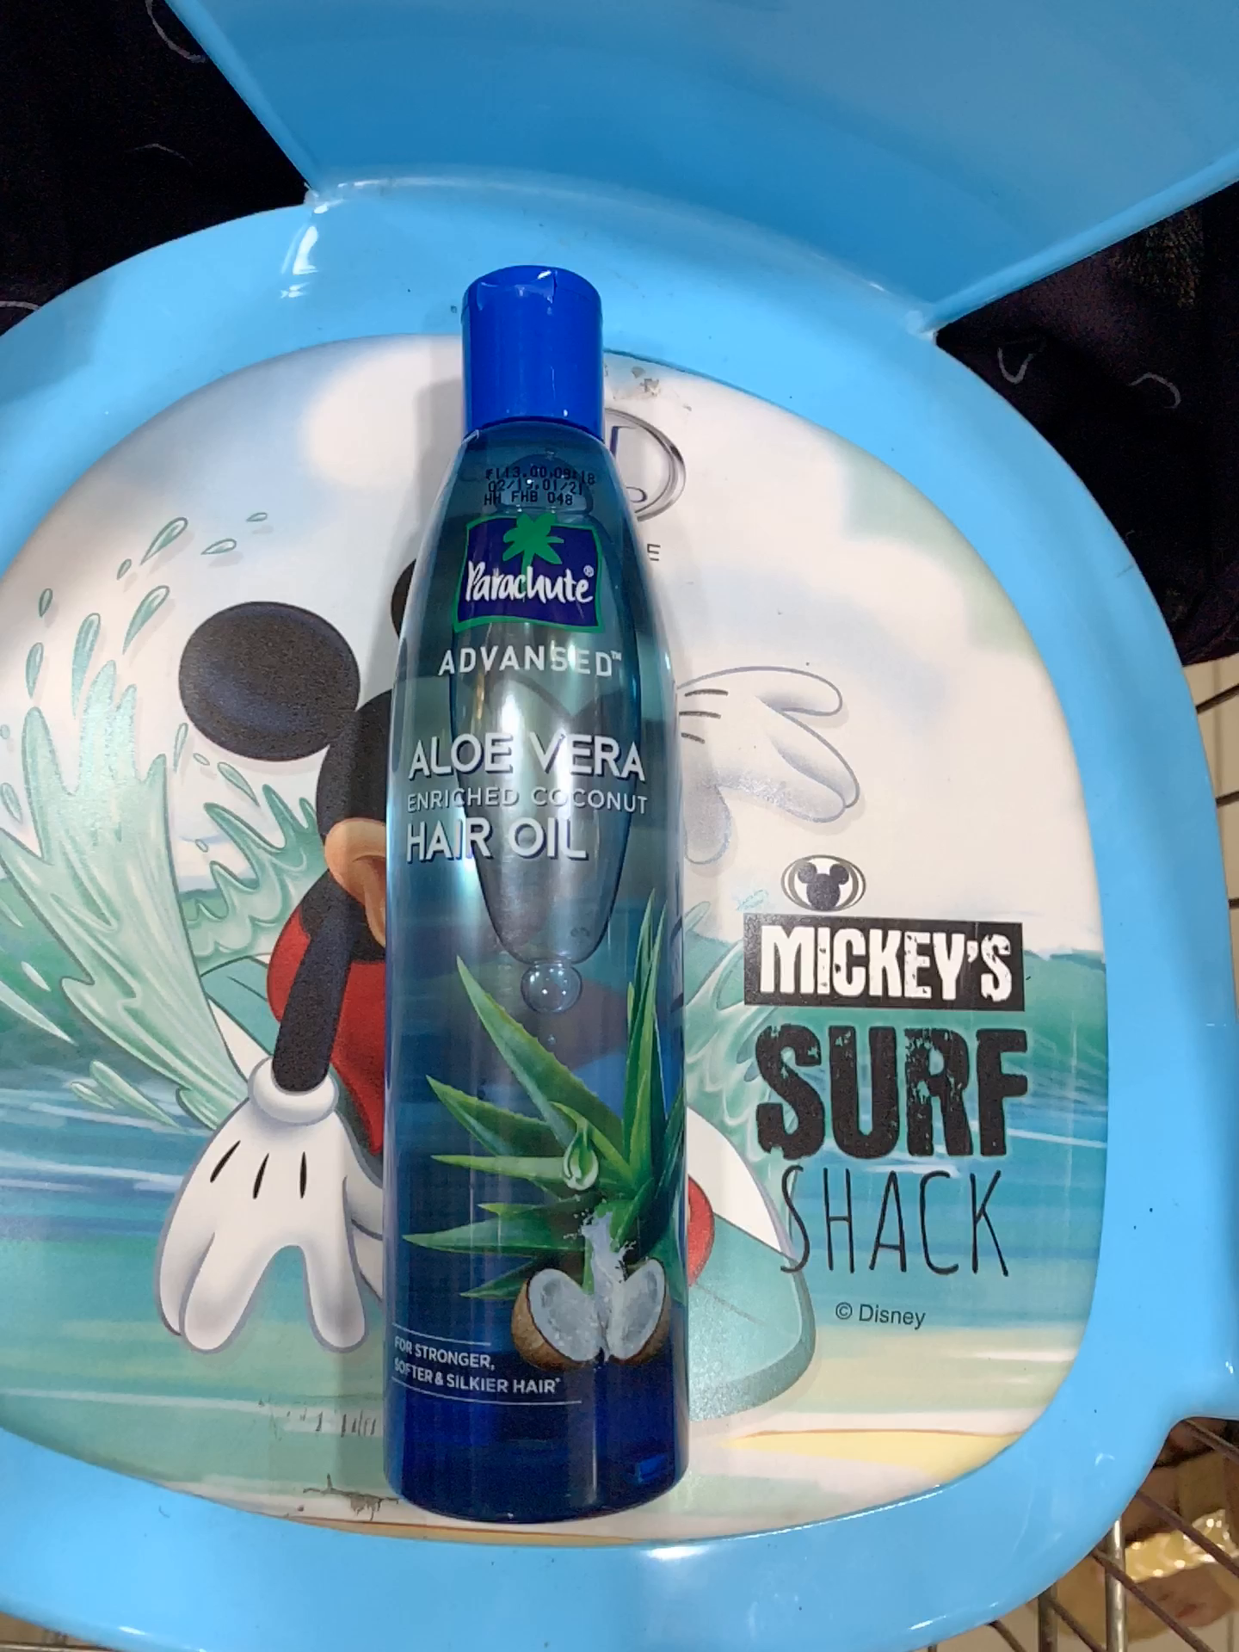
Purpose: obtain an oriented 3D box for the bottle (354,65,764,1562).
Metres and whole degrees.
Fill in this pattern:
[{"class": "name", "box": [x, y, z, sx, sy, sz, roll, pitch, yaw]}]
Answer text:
[{"class": "bottle", "box": [-0.010, -0.003, 0.200, 0.050, 0.050, 0.200, 2, 86, -9]}]
